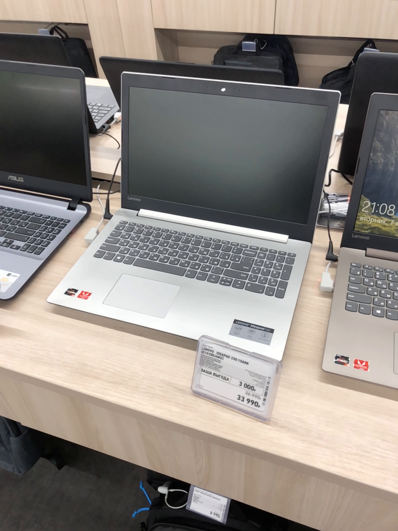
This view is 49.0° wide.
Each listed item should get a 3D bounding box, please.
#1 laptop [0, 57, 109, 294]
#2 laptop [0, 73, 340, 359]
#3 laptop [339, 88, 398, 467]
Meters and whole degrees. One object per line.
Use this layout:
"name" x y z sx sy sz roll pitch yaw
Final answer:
"laptop" -0.407 -0.175 0.757 0.326 0.232 0.320 13 46 17
"laptop" -0.013 -0.104 0.664 0.365 0.220 0.337 12 46 16
"laptop" 0.378 -0.024 0.546 0.357 0.222 0.328 10 45 14
